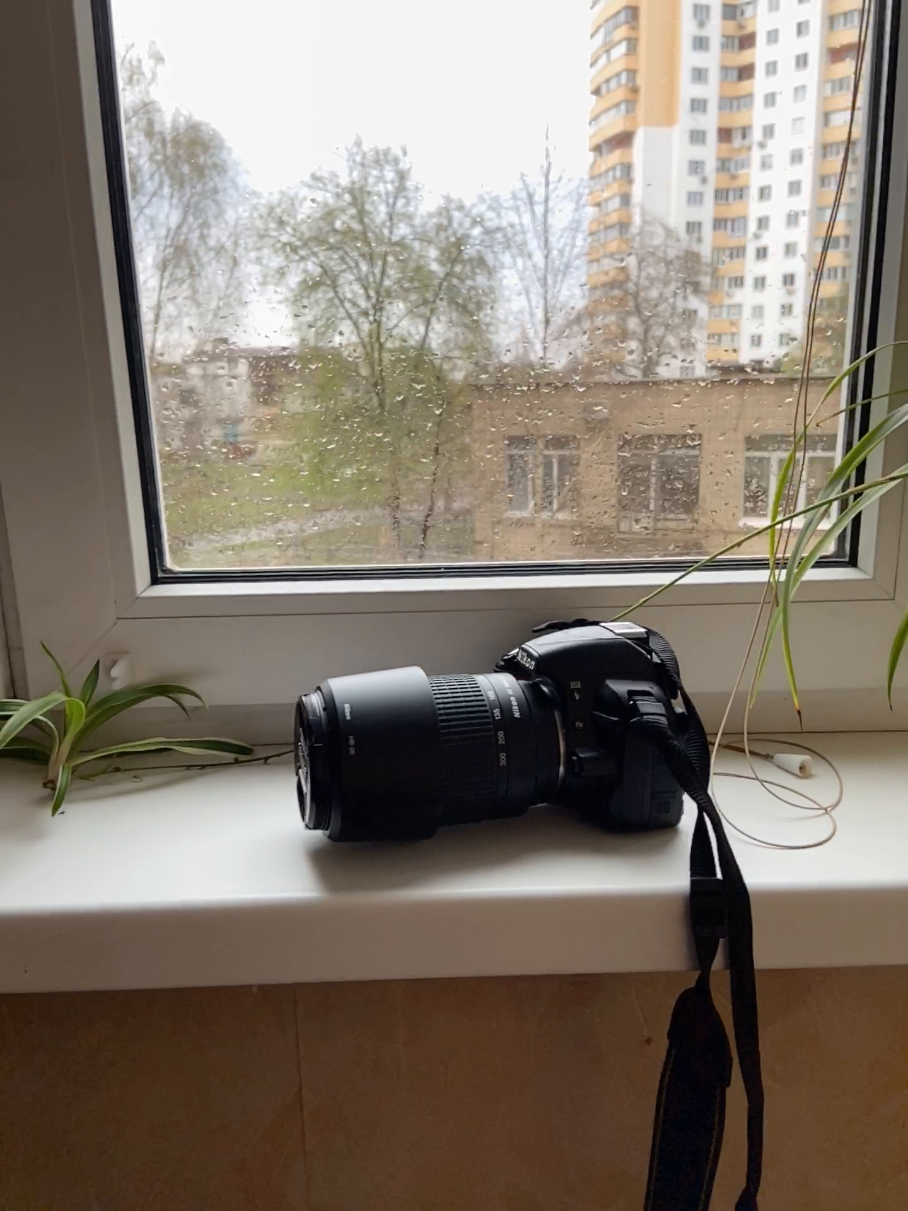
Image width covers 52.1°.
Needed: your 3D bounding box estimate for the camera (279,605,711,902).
[{"bbox_3d":[0.015,0.066,0.487,0.190,0.089,0.125,-5,14,-17],"label":"camera"}]
